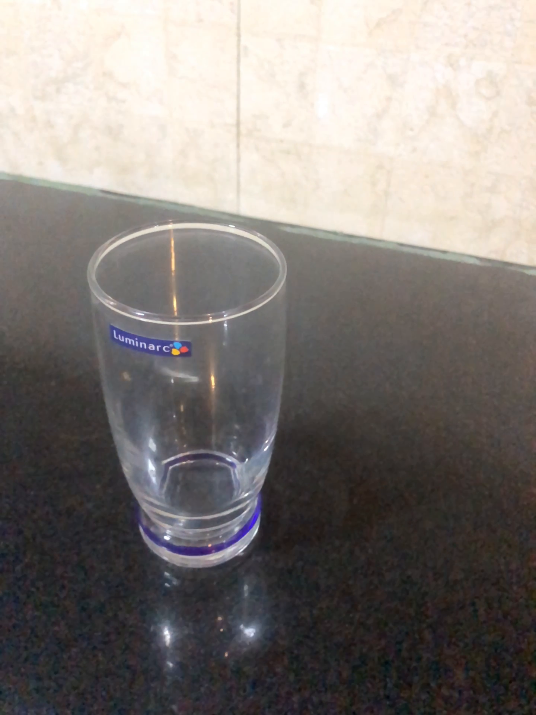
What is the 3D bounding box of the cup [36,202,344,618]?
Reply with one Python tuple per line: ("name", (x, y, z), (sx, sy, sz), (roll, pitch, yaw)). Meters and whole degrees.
("cup", (-0.020, 0.021, 0.231), (0.080, 0.129, 0.081), (2, 37, -1))
